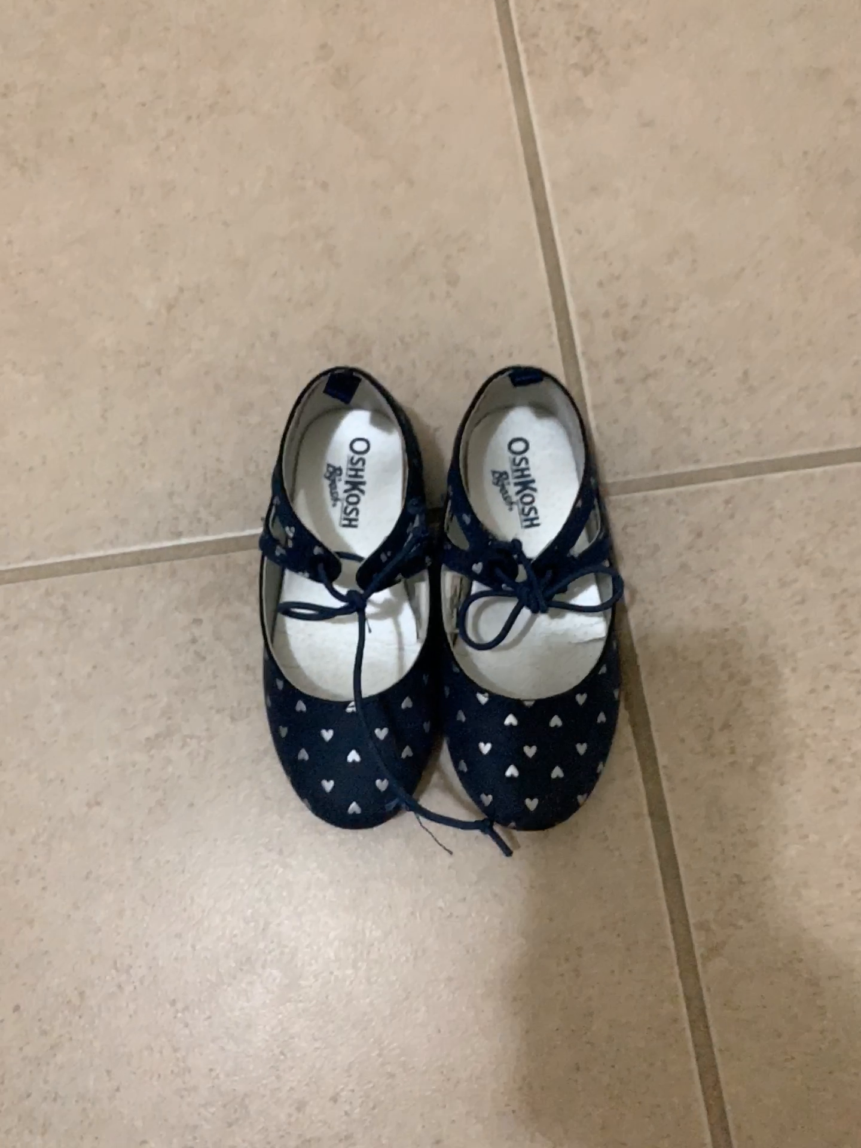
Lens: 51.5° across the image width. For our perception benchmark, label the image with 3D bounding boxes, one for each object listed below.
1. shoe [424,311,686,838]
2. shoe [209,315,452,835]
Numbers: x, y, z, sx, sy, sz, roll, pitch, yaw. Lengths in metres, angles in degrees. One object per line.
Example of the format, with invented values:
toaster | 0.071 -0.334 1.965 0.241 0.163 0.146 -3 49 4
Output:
shoe | 0.038 0.002 0.314 0.070 0.062 0.171 -3 74 3
shoe | -0.032 0.002 0.318 0.070 0.062 0.171 -3 74 3
